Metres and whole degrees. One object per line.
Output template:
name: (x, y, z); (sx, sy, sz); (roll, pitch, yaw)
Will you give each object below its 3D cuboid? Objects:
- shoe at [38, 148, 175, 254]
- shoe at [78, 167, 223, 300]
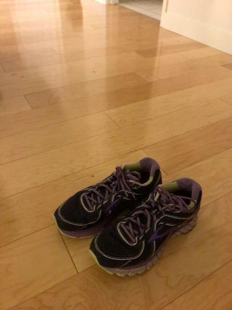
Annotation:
shoe: (-0.015, 0.084, 0.550); (0.271, 0.069, 0.110); (-22, 46, -26)
shoe: (0.074, 0.136, 0.505); (0.271, 0.069, 0.120); (-25, 47, -29)
